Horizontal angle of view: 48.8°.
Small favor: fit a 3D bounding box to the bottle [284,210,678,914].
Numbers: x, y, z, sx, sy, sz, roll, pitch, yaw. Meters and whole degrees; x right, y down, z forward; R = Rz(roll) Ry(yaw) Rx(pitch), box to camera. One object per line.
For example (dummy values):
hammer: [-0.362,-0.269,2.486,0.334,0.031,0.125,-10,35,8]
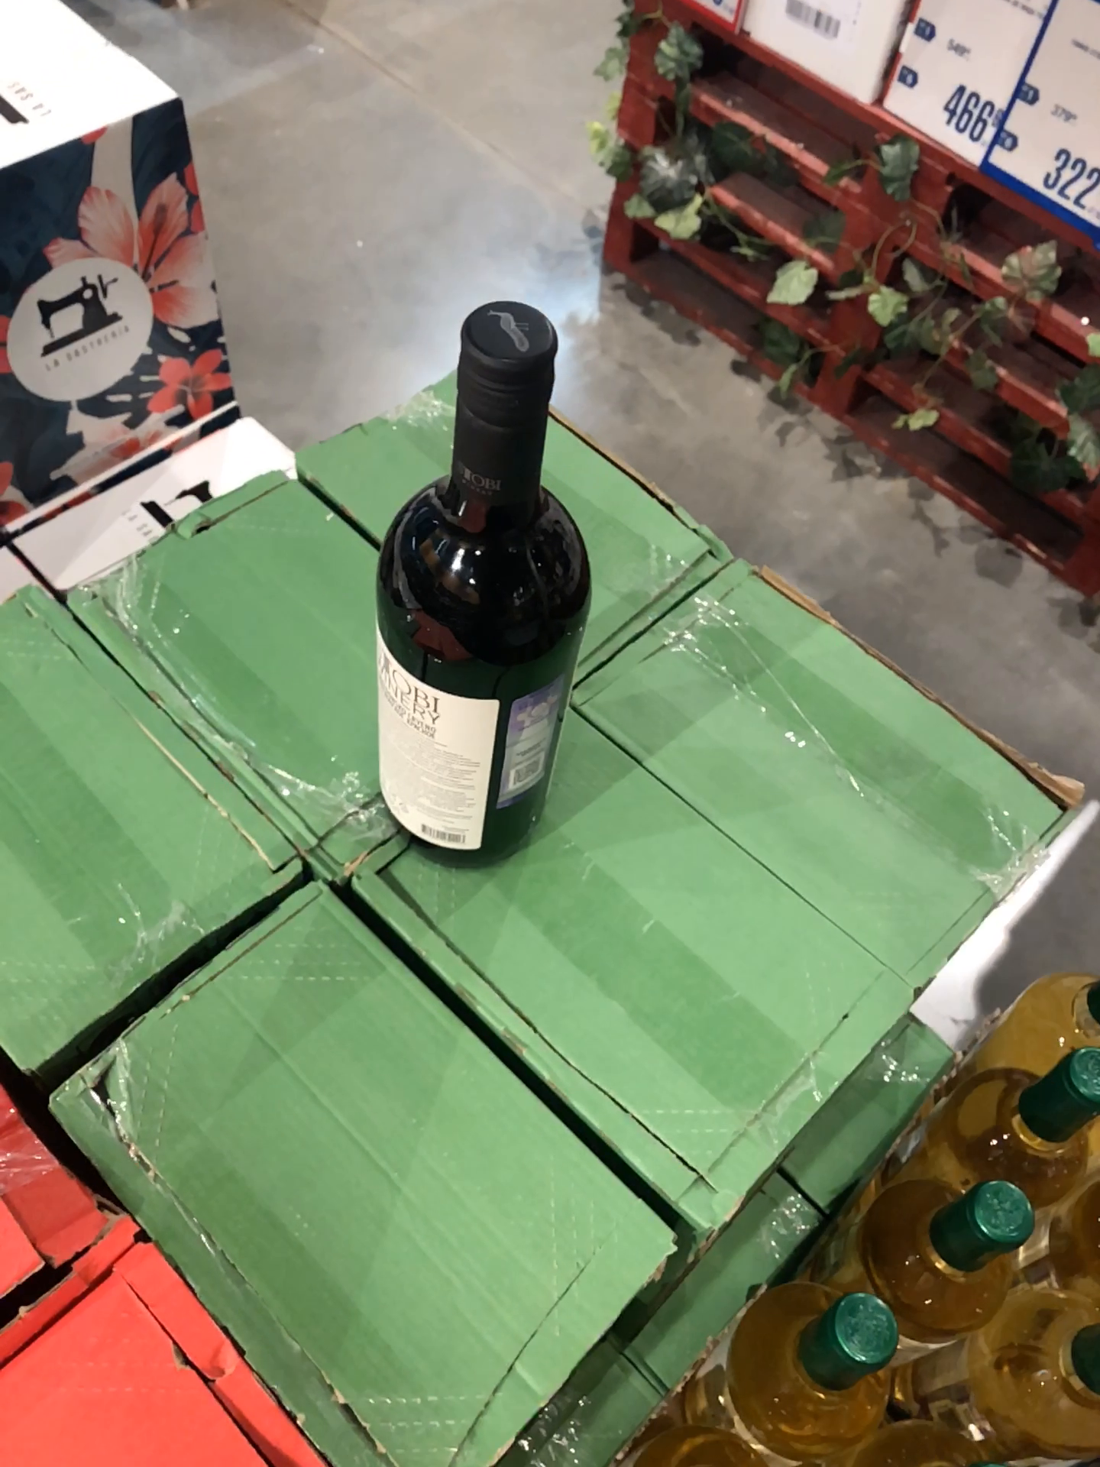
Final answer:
bottle: [-0.032,-0.044,0.487,0.080,0.288,0.090,-34,66,-24]
